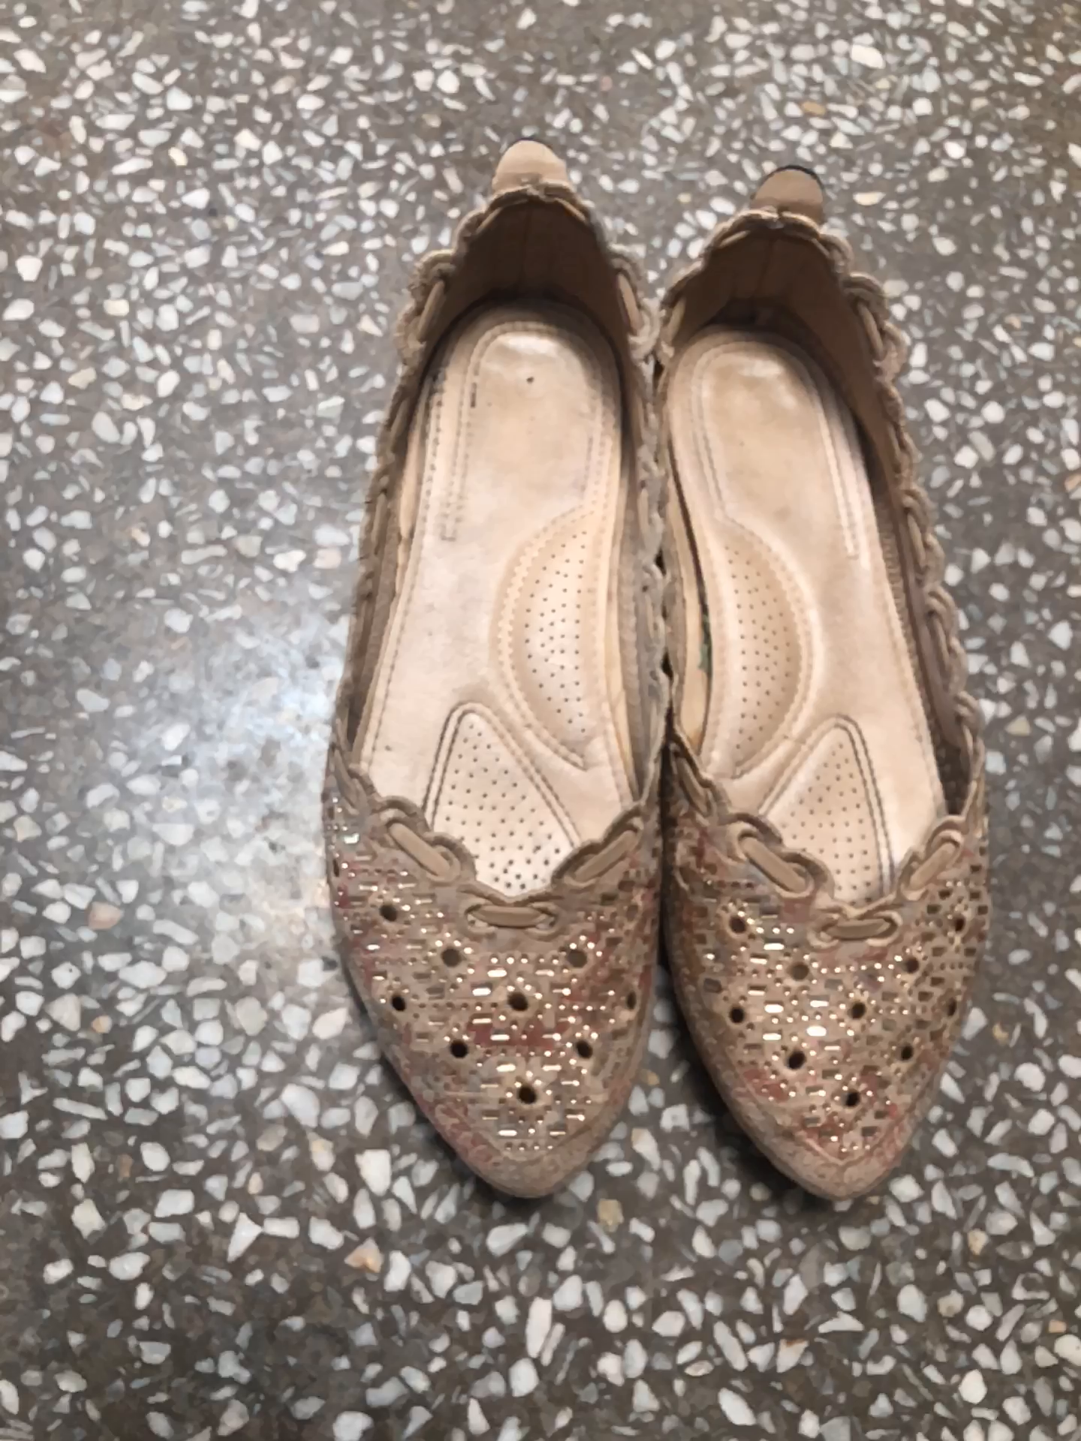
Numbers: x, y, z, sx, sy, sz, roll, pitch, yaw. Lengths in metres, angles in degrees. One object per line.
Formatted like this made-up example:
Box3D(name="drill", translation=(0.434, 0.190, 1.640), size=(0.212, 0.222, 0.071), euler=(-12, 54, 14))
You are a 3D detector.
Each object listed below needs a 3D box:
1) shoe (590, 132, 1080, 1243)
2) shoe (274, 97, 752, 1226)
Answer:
Box3D(name="shoe", translation=(0.072, -0.015, 0.302), size=(0.089, 0.068, 0.254), euler=(-2, 73, -8))
Box3D(name="shoe", translation=(-0.010, -0.019, 0.295), size=(0.089, 0.068, 0.254), euler=(1, 73, -7))
